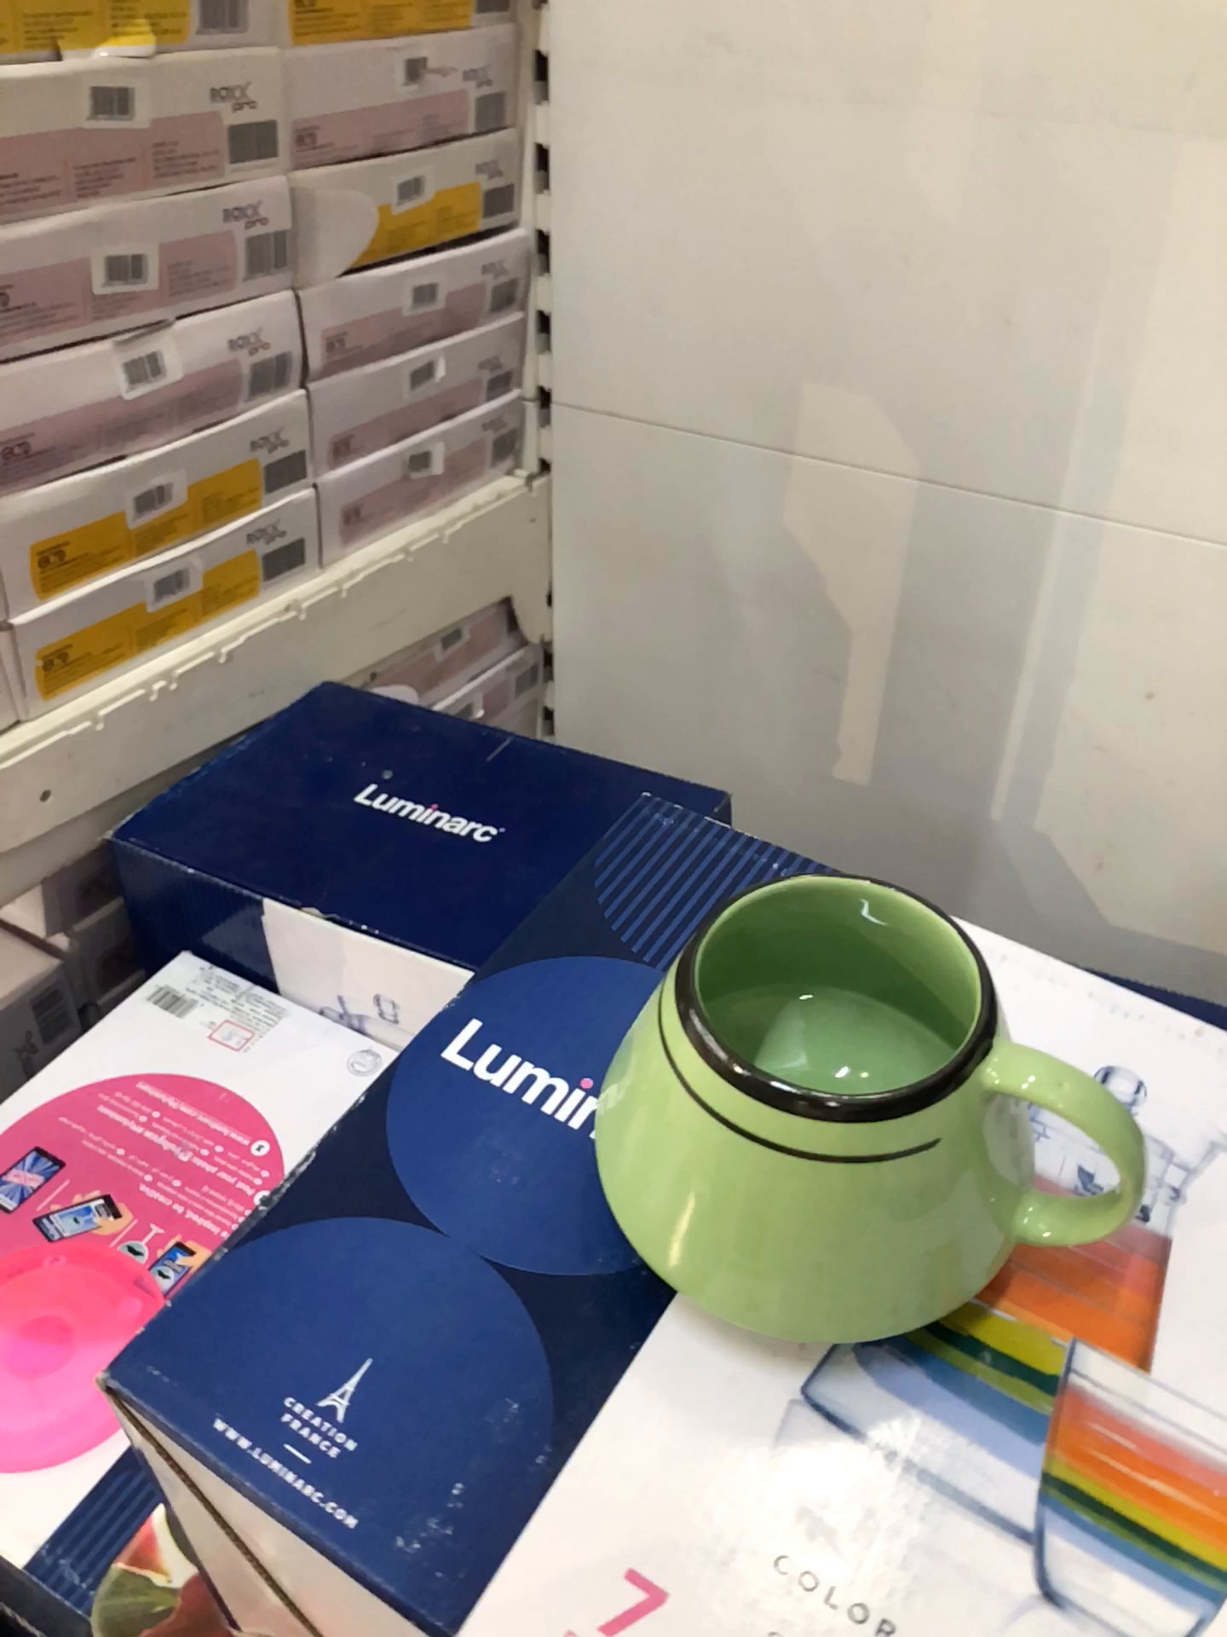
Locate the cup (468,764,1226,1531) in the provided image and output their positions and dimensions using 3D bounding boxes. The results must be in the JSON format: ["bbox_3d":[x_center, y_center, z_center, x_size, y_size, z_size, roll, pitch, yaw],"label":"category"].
[{"bbox_3d":[0.057,0.063,0.318,0.140,0.070,0.111,22,39,27],"label":"cup"}]
